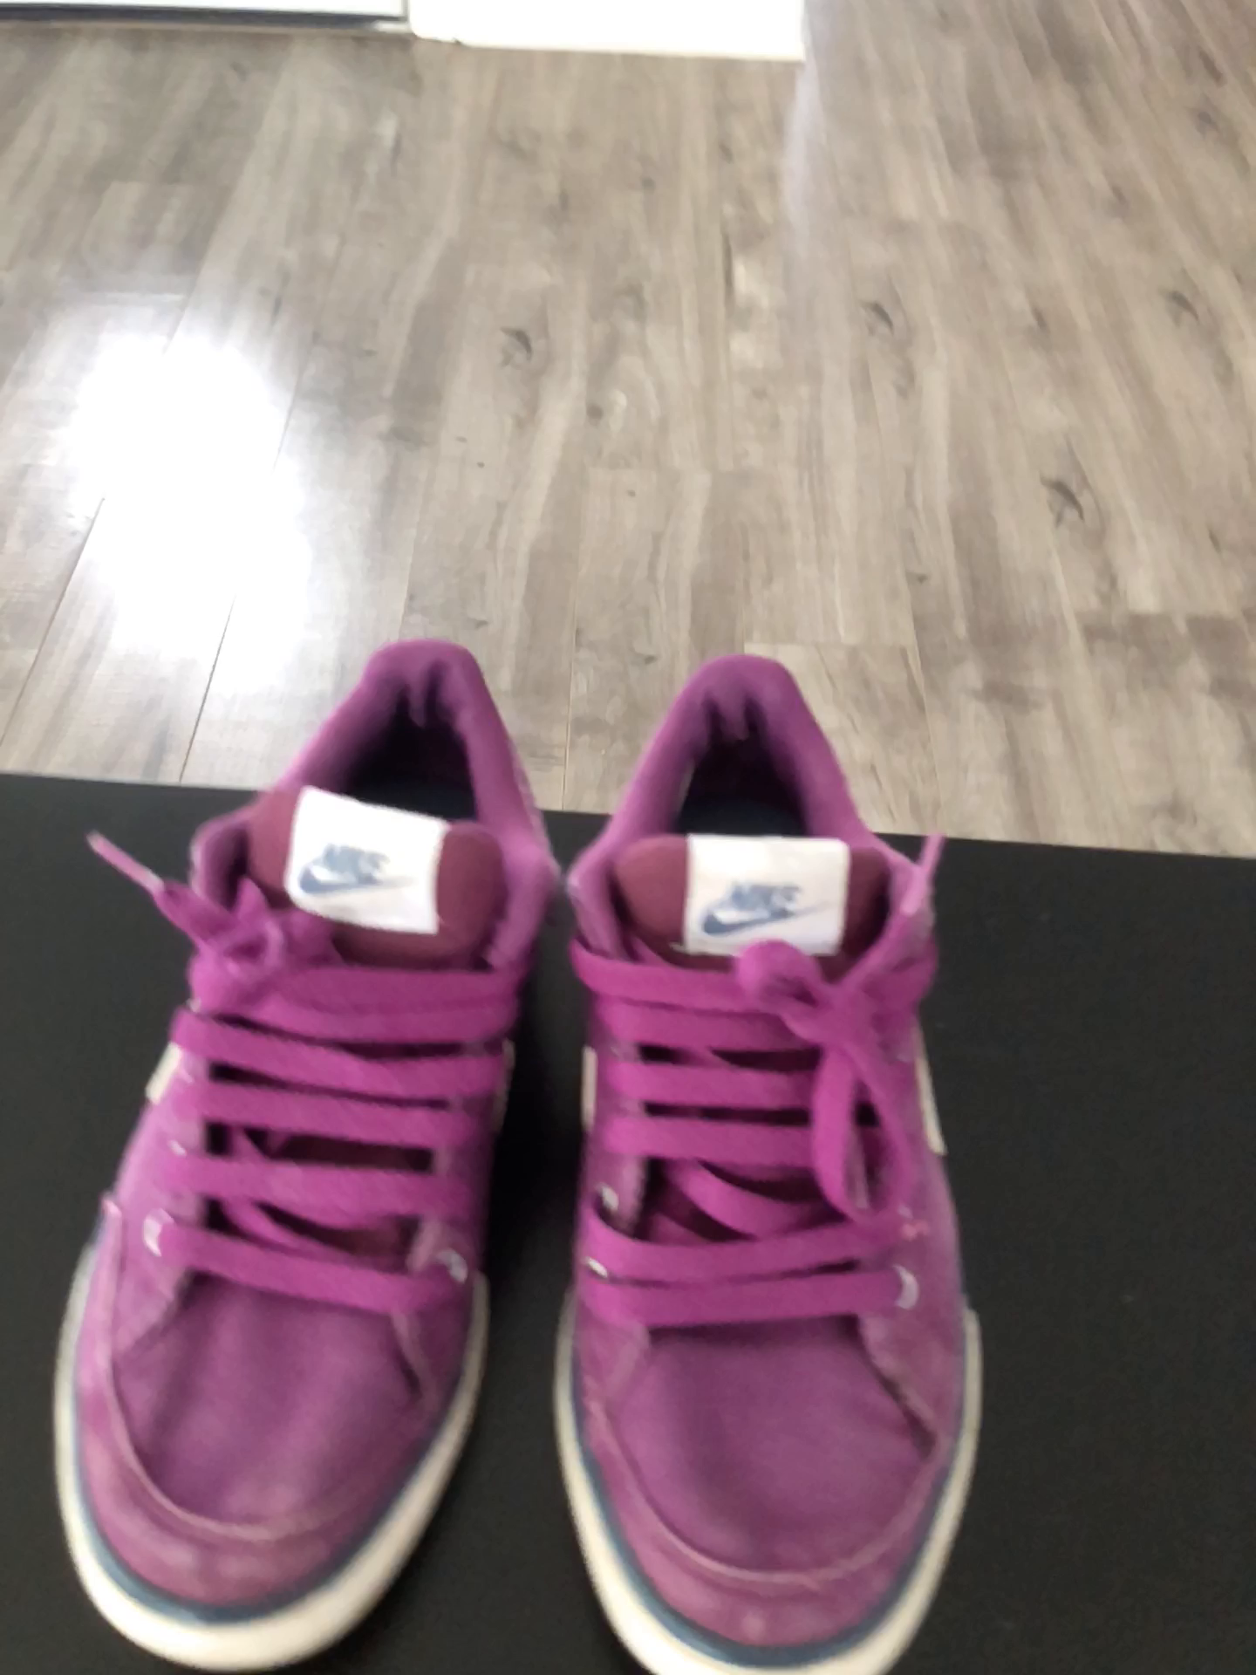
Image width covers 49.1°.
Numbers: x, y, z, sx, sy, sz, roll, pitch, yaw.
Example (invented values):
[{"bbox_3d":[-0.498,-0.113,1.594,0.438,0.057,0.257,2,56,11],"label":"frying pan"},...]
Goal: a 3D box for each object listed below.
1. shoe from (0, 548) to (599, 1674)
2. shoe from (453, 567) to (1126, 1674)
[{"bbox_3d":[-0.069,0.053,0.316,0.100,0.100,0.240,5,50,1],"label":"shoe"},{"bbox_3d":[0.032,0.060,0.322,0.100,0.100,0.250,5,50,1],"label":"shoe"}]
